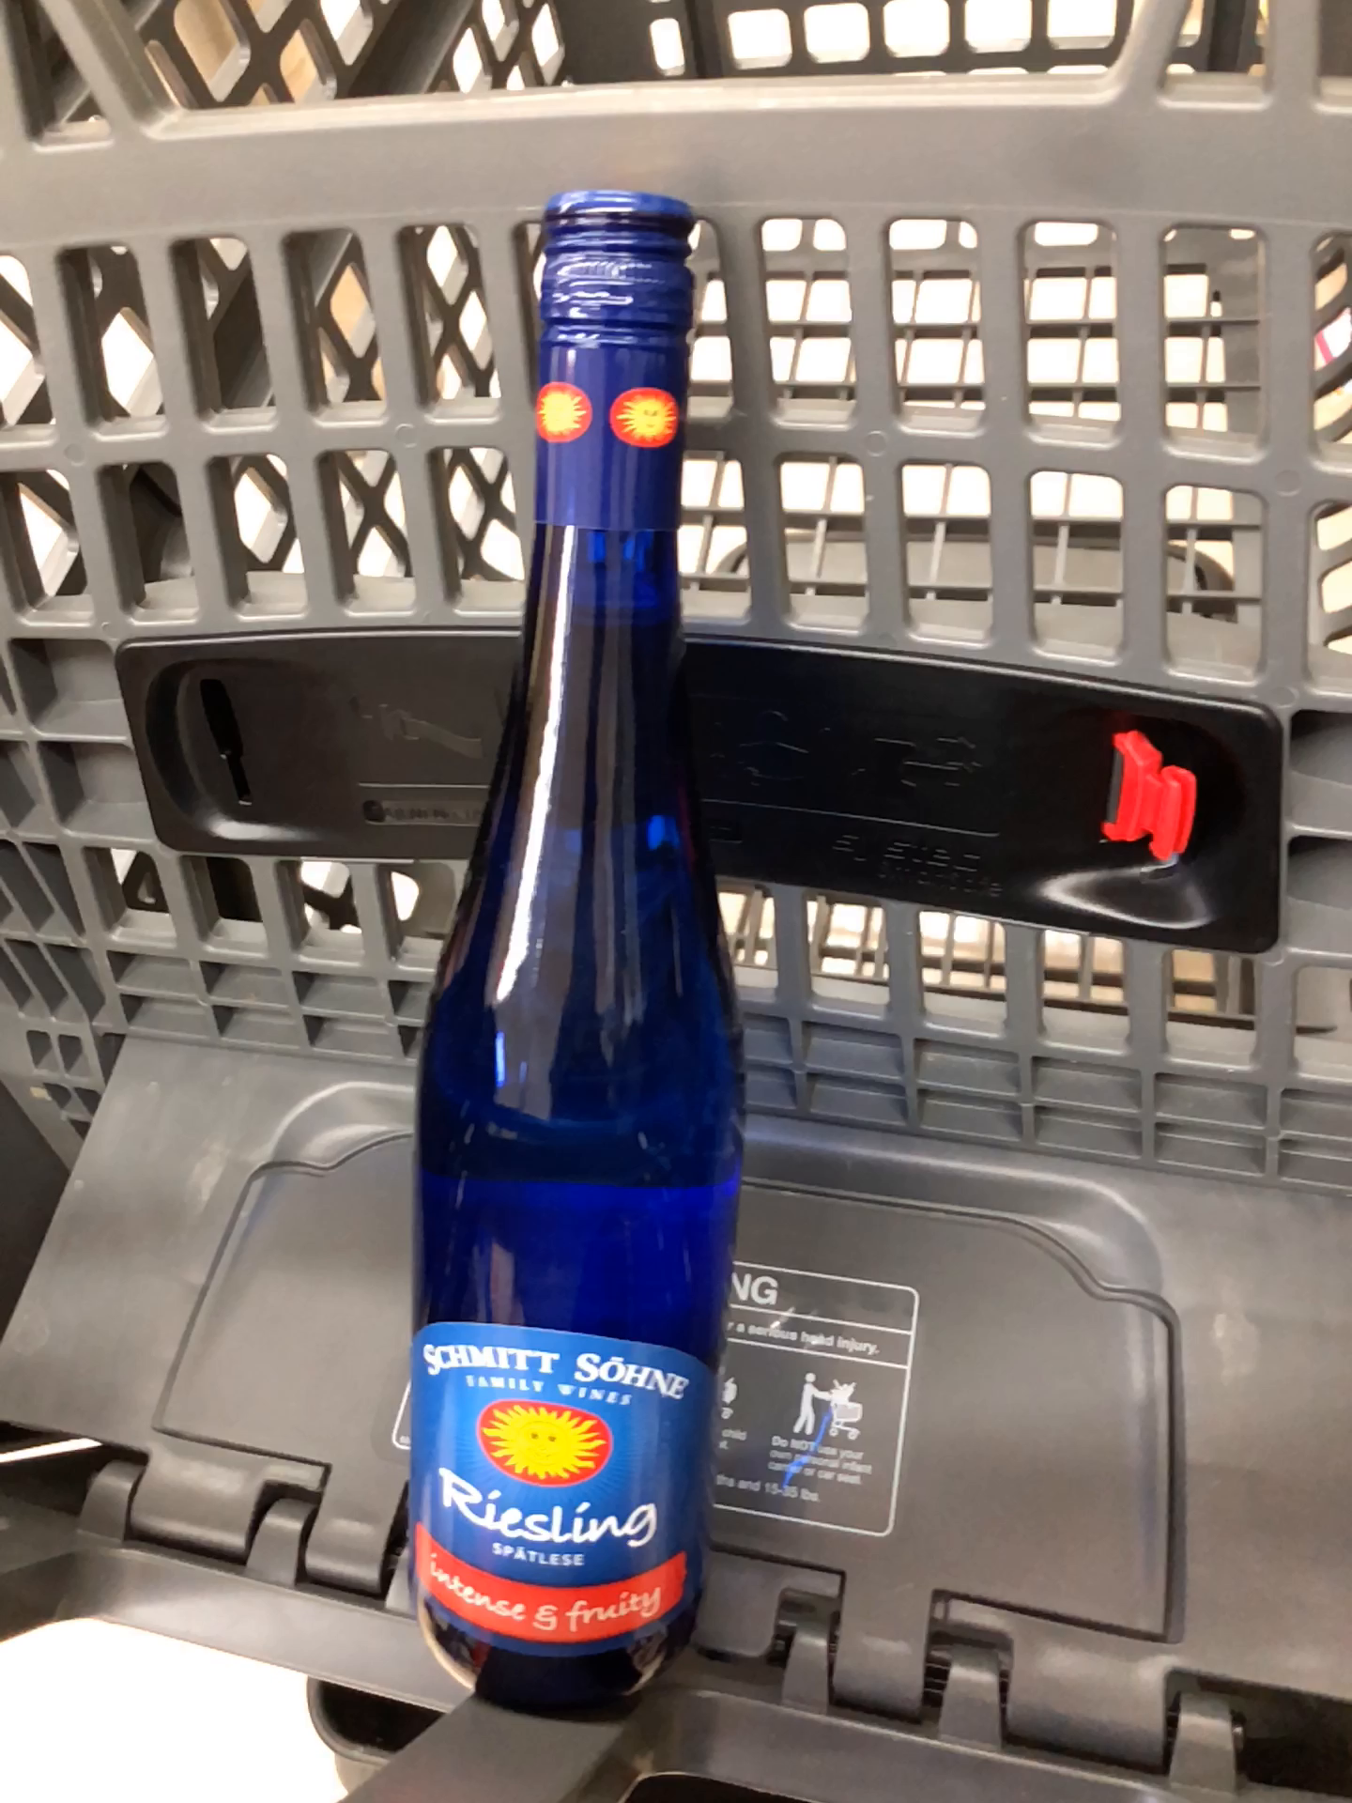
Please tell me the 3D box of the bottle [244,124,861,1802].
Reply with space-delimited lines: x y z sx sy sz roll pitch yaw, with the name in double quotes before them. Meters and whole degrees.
"bottle" -0.025 0.023 0.349 0.100 0.100 0.350 6 106 10
